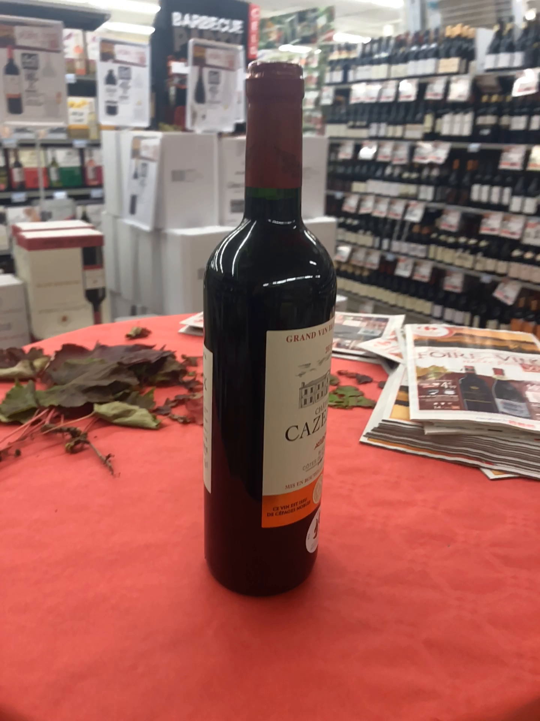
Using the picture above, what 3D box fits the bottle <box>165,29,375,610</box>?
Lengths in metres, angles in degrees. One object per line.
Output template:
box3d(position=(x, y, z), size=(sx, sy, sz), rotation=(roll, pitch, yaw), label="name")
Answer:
box3d(position=(0.001, -0.014, 0.345), size=(0.080, 0.299, 0.080), rotation=(1, 20, 0), label="bottle")
